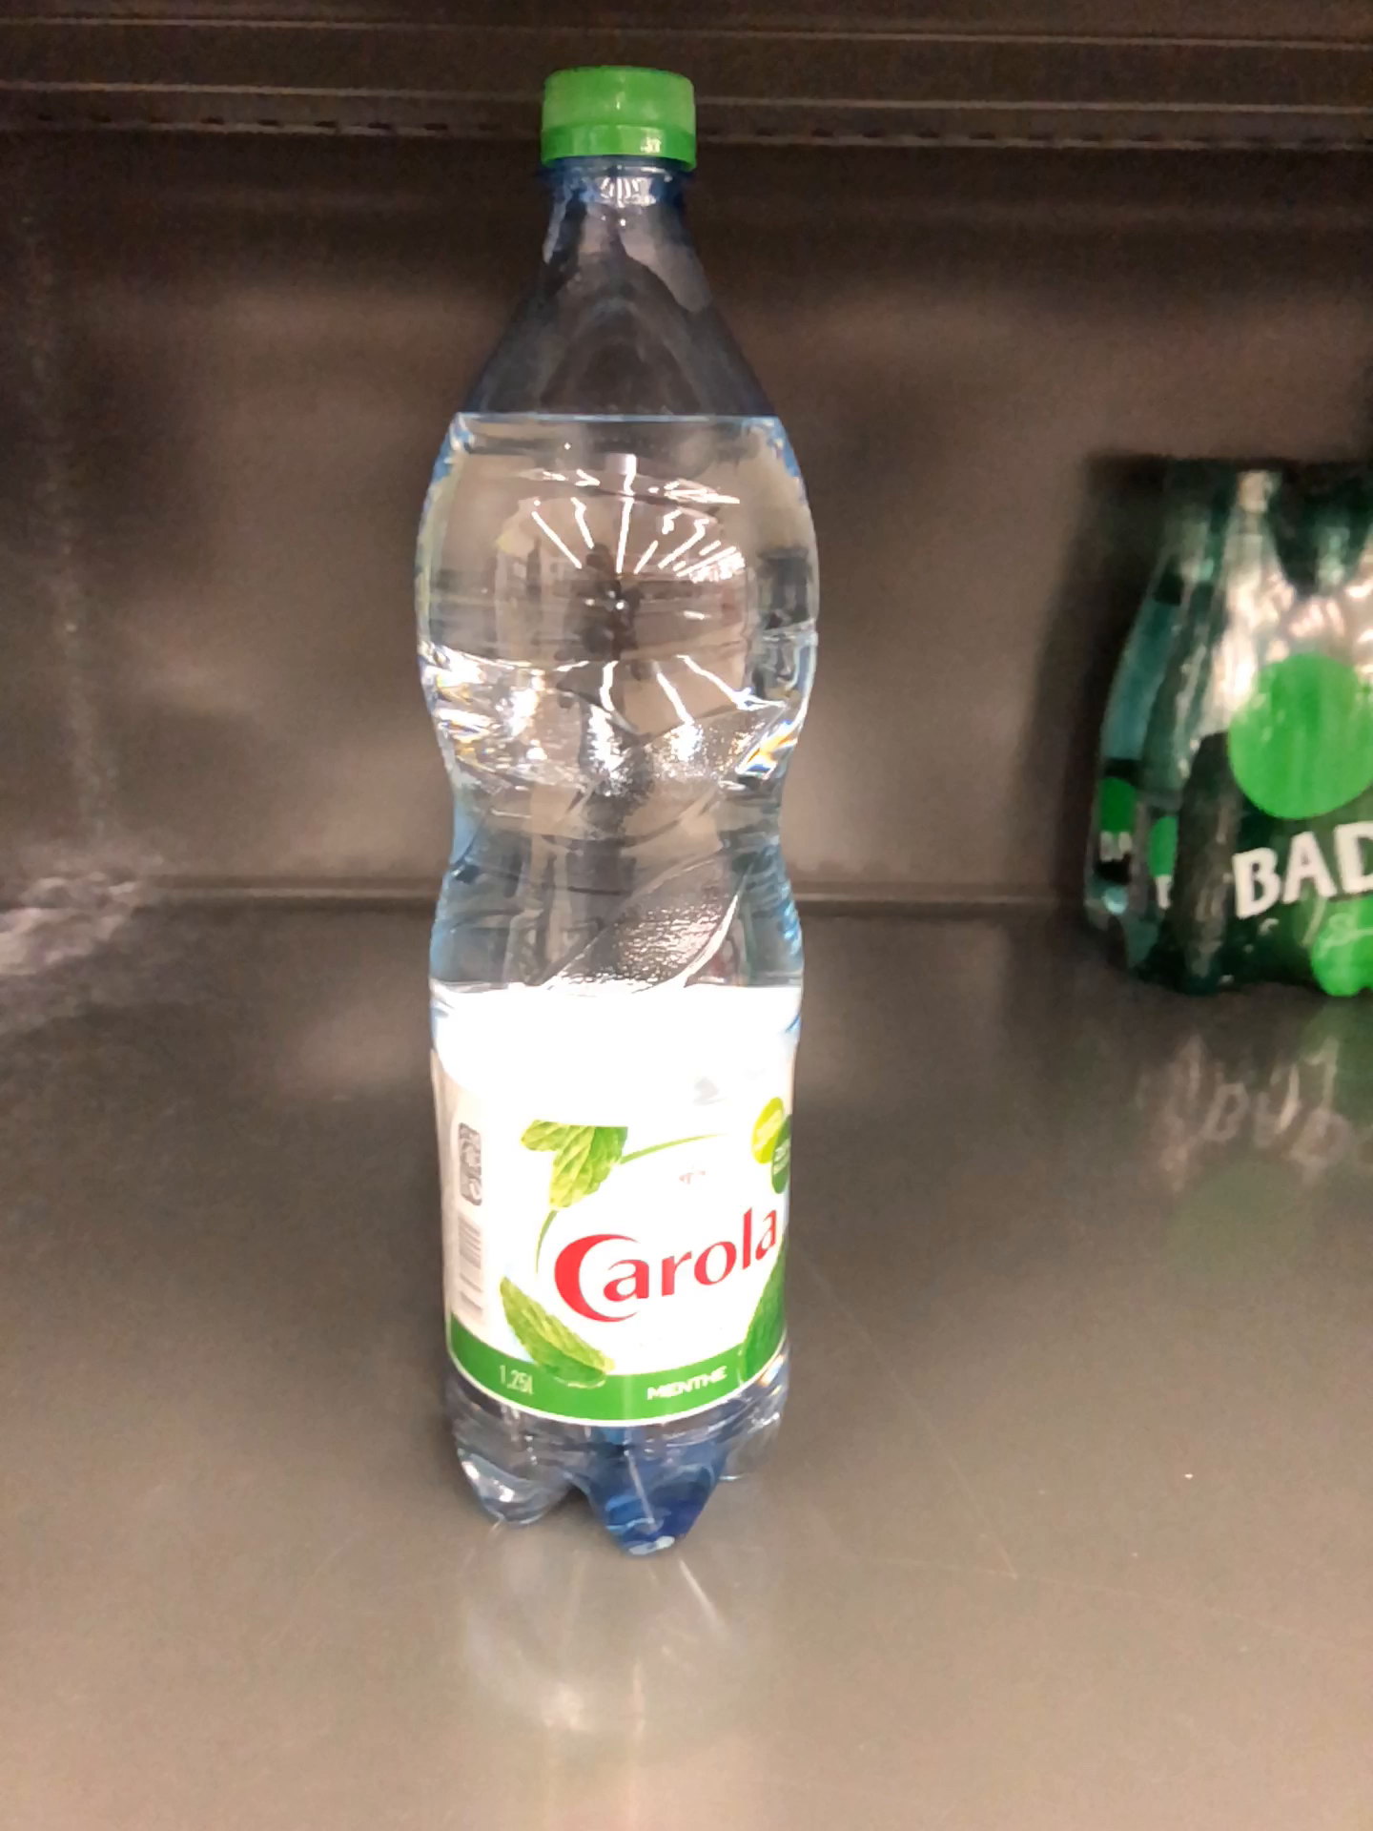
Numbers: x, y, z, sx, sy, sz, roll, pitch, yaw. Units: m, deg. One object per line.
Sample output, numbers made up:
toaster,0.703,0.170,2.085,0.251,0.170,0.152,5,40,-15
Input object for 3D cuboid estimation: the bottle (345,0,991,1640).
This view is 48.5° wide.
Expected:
bottle,-0.011,-0.018,0.358,0.100,0.339,0.100,1,17,0
